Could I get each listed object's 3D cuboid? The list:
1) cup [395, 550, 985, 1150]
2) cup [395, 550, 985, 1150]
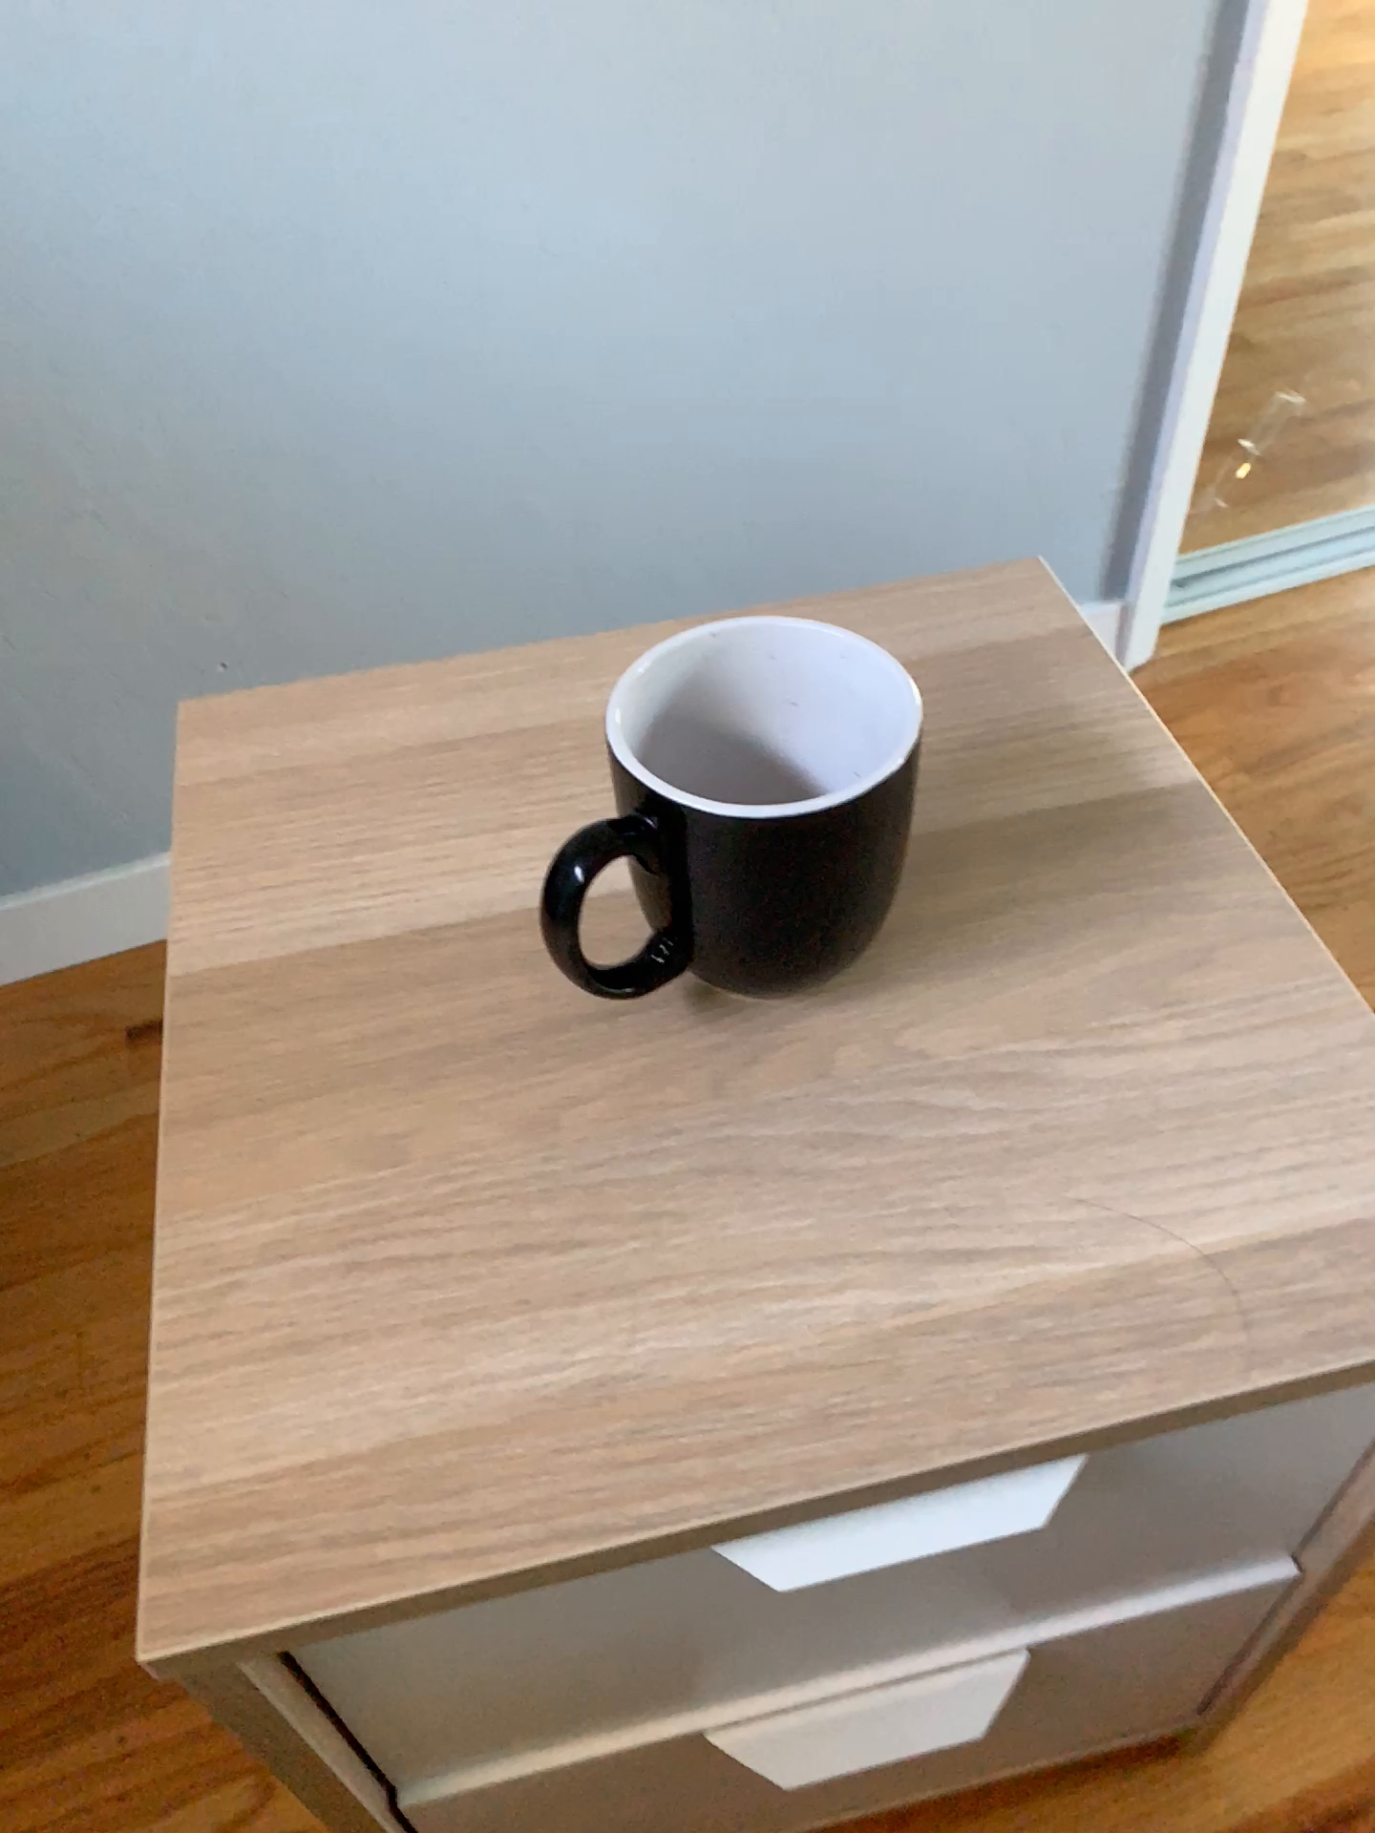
[{"bbox_3d":[0.004,-0.027,0.460,0.150,0.100,0.100,-36,55,-27],"label":"cup"},{"bbox_3d":[0.004,-0.027,0.460,0.150,0.100,0.100,-36,55,-27],"label":"cup"}]
